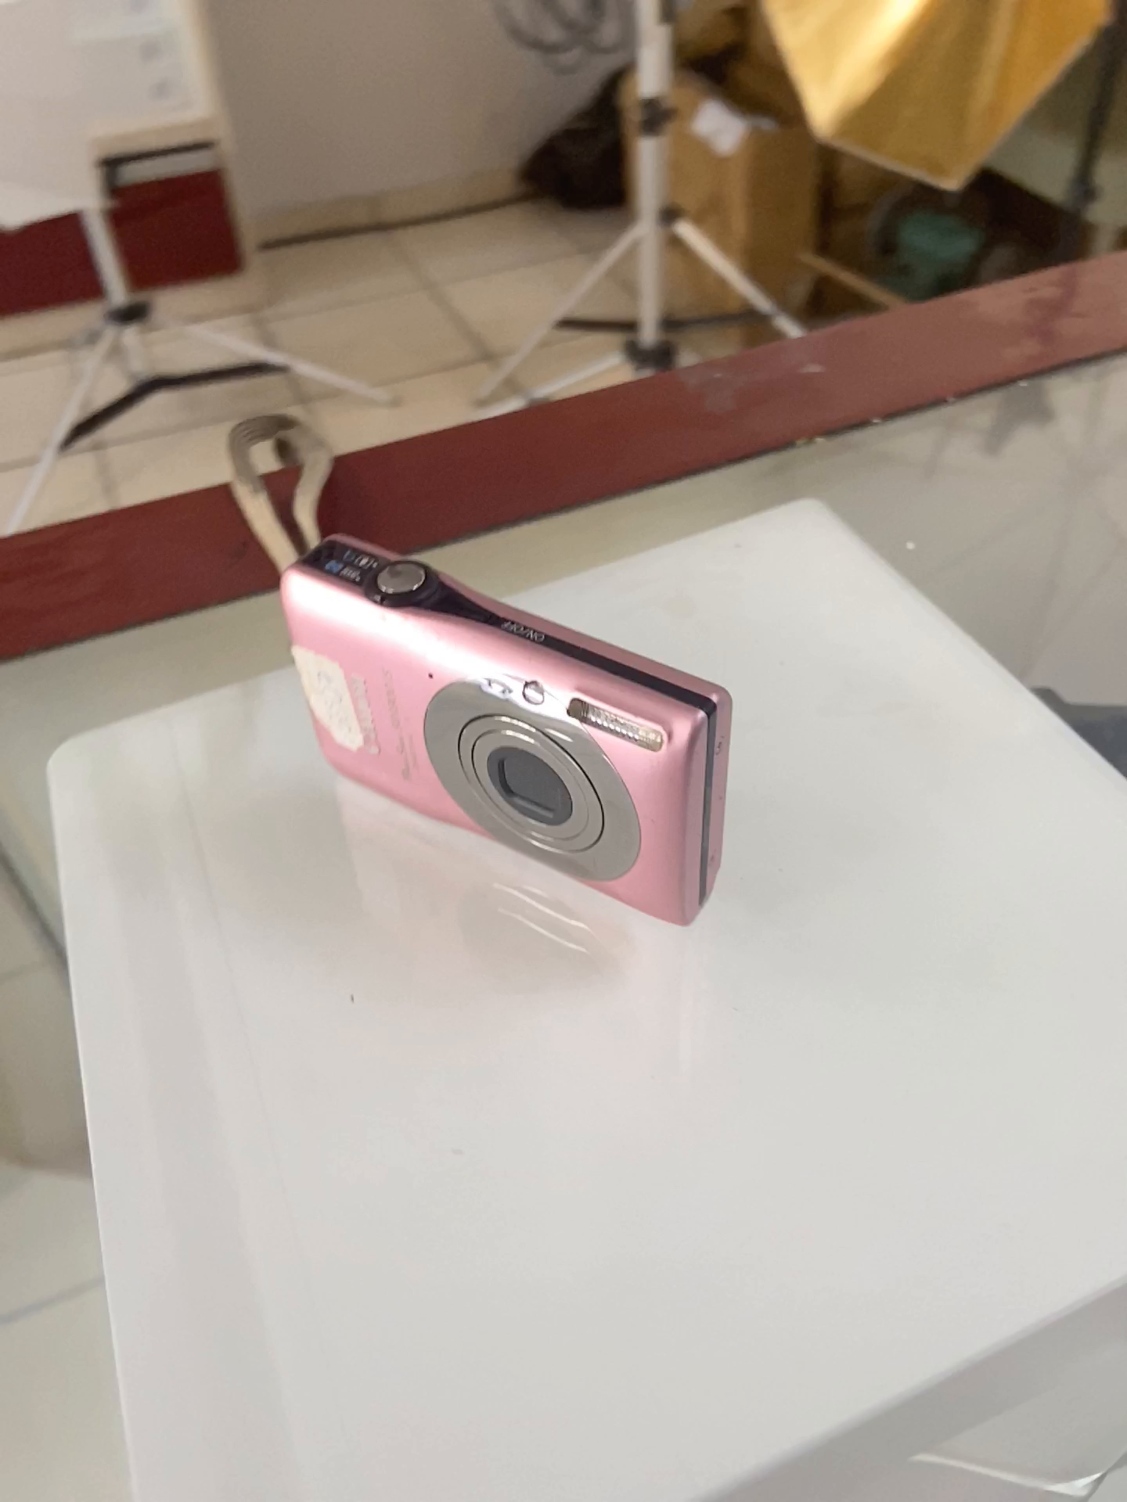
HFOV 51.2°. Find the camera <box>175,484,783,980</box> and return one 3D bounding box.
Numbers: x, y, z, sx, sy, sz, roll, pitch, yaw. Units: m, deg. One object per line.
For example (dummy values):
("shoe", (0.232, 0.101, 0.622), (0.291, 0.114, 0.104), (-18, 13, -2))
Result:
("camera", (-0.016, -0.005, 0.211), (0.100, 0.050, 0.030), (23, 50, 22))
